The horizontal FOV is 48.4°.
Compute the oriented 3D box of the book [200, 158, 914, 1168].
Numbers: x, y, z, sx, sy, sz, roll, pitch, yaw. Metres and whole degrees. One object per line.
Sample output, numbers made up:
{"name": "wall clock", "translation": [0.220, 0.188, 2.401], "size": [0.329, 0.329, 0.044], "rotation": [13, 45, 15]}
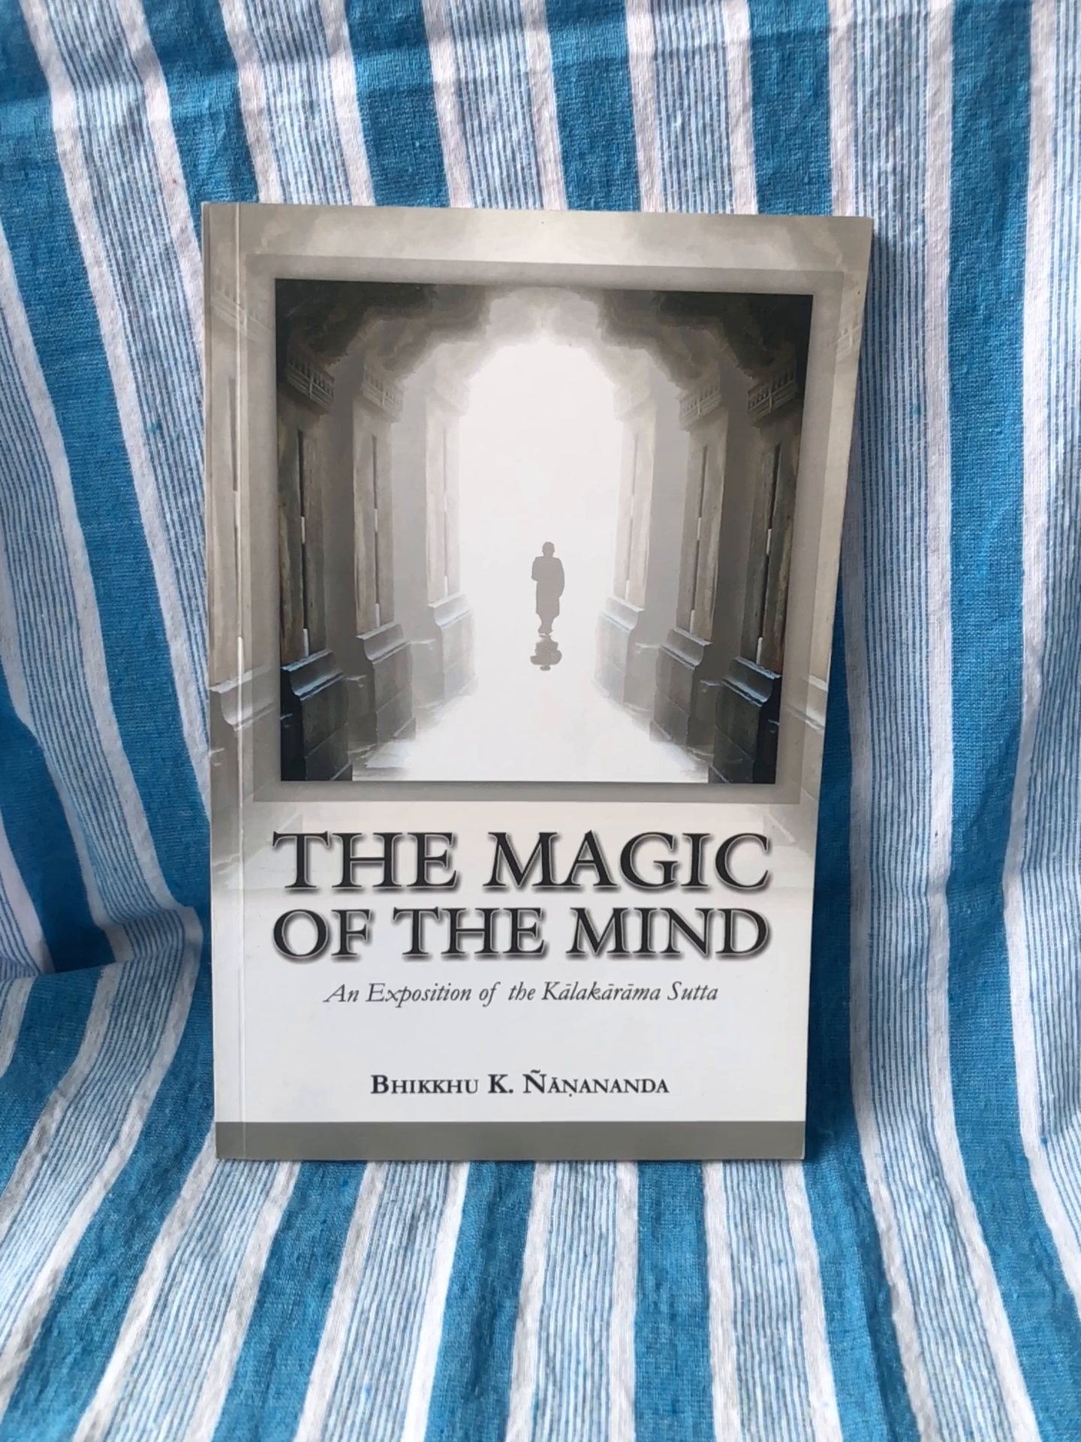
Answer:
{"name": "book", "translation": [0.001, -0.006, 0.271], "size": [0.150, 0.220, 0.010], "rotation": [1, 7, -3]}
